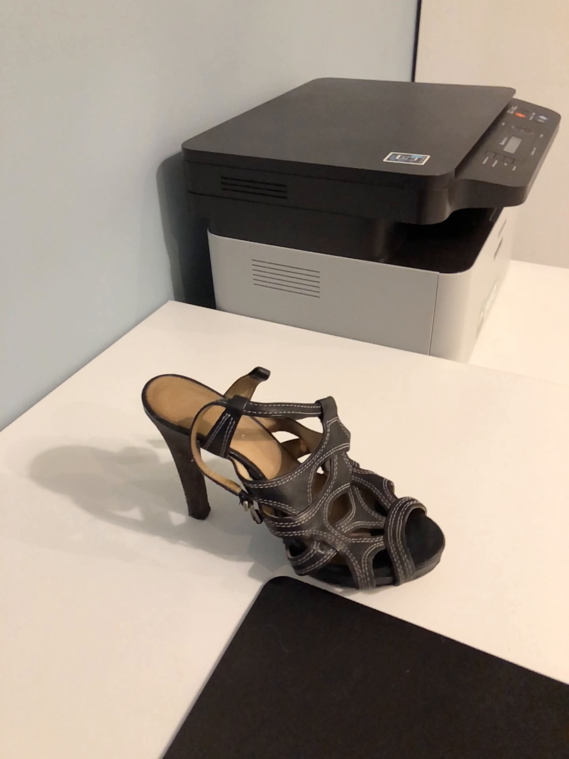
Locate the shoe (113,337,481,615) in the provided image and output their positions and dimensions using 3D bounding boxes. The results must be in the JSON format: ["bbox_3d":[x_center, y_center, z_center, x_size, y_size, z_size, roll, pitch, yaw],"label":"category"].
[{"bbox_3d":[0.010,0.058,0.437,0.220,0.099,0.101,13,37,19],"label":"shoe"}]
